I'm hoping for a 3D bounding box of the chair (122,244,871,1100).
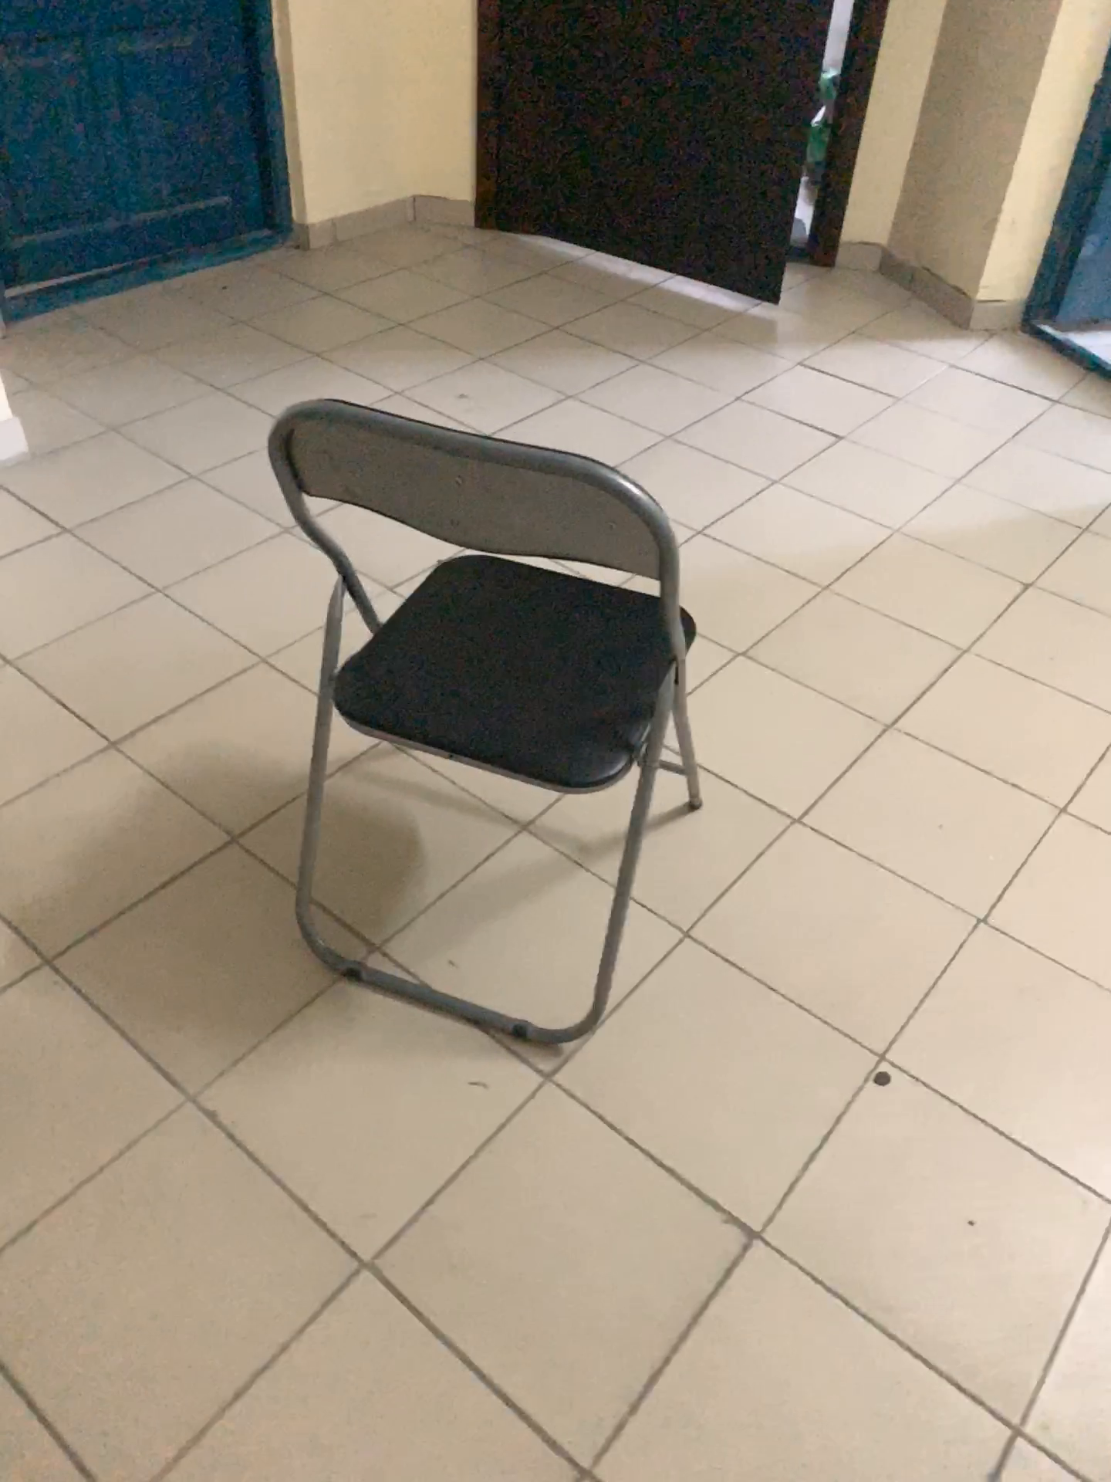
[{"bbox_3d":[-0.039,-0.096,1.378,0.571,0.726,0.562,18,43,15],"label":"chair"}]
